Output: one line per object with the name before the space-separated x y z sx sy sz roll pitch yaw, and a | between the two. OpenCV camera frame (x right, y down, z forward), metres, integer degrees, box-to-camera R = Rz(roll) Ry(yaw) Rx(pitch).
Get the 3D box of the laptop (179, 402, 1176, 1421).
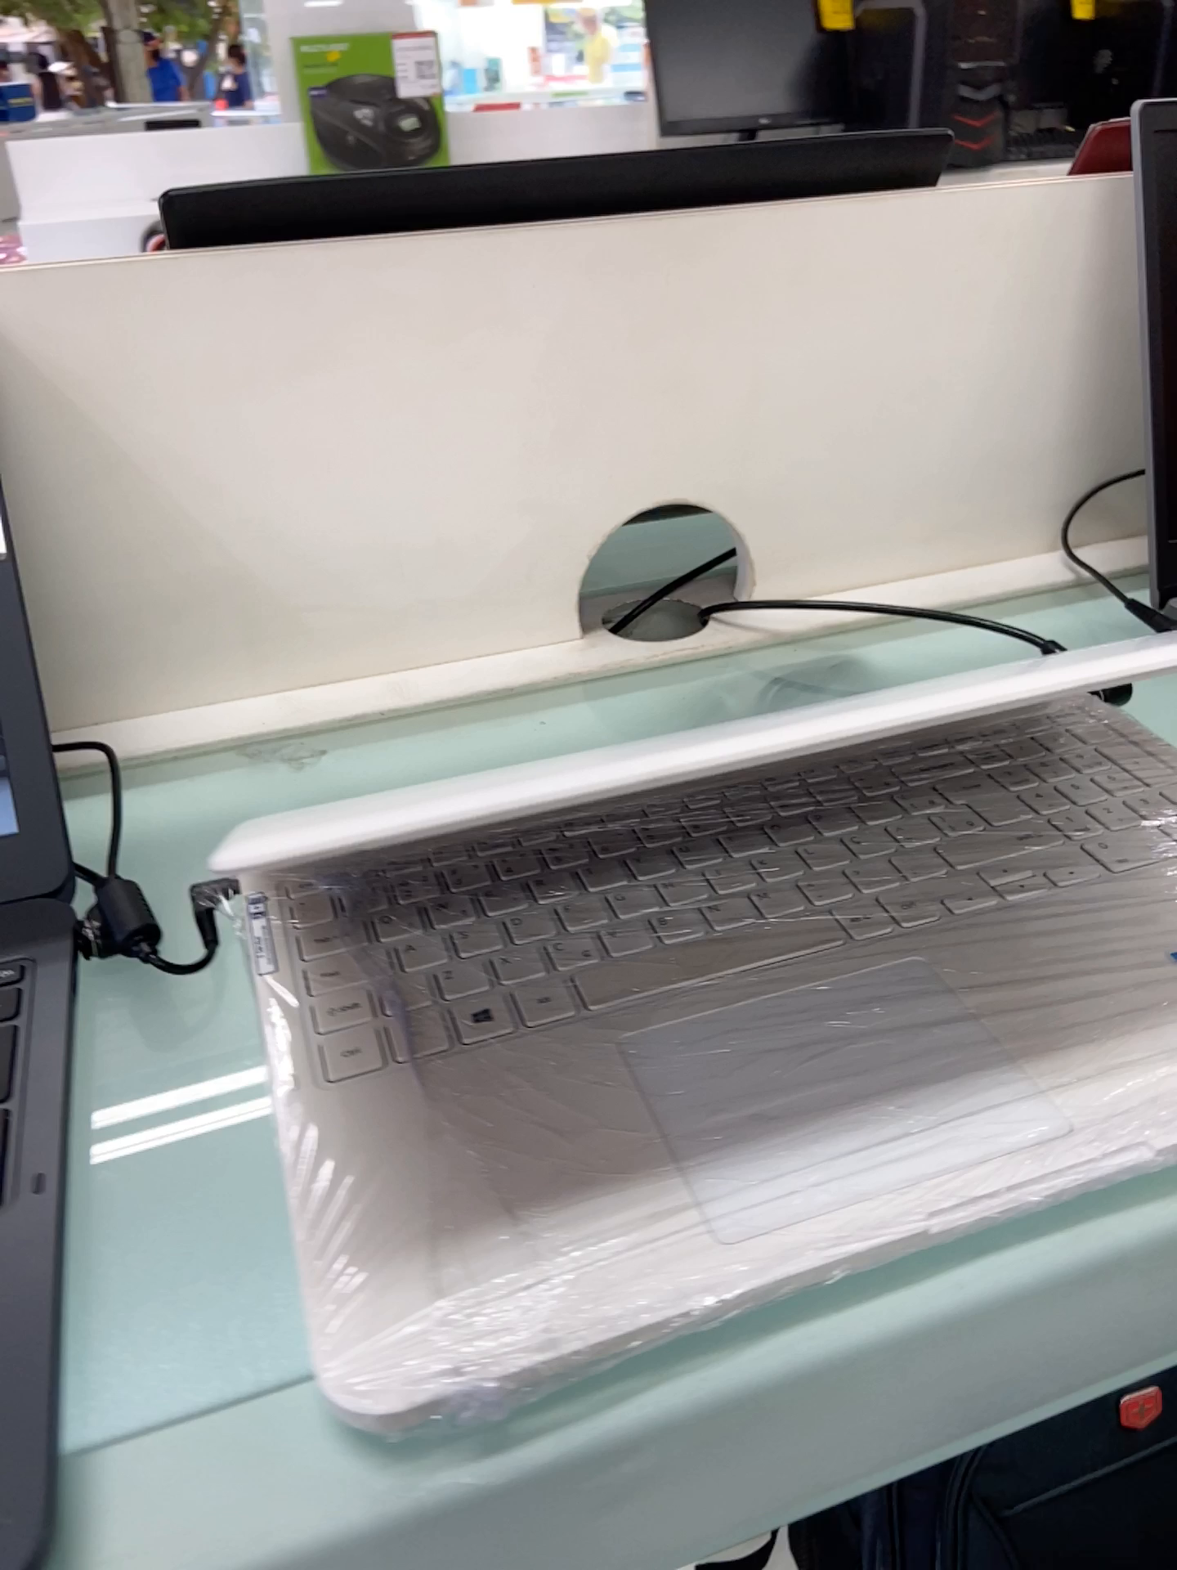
laptop | 0.080 -0.010 0.391 0.373 0.129 0.248 -12 32 -16
